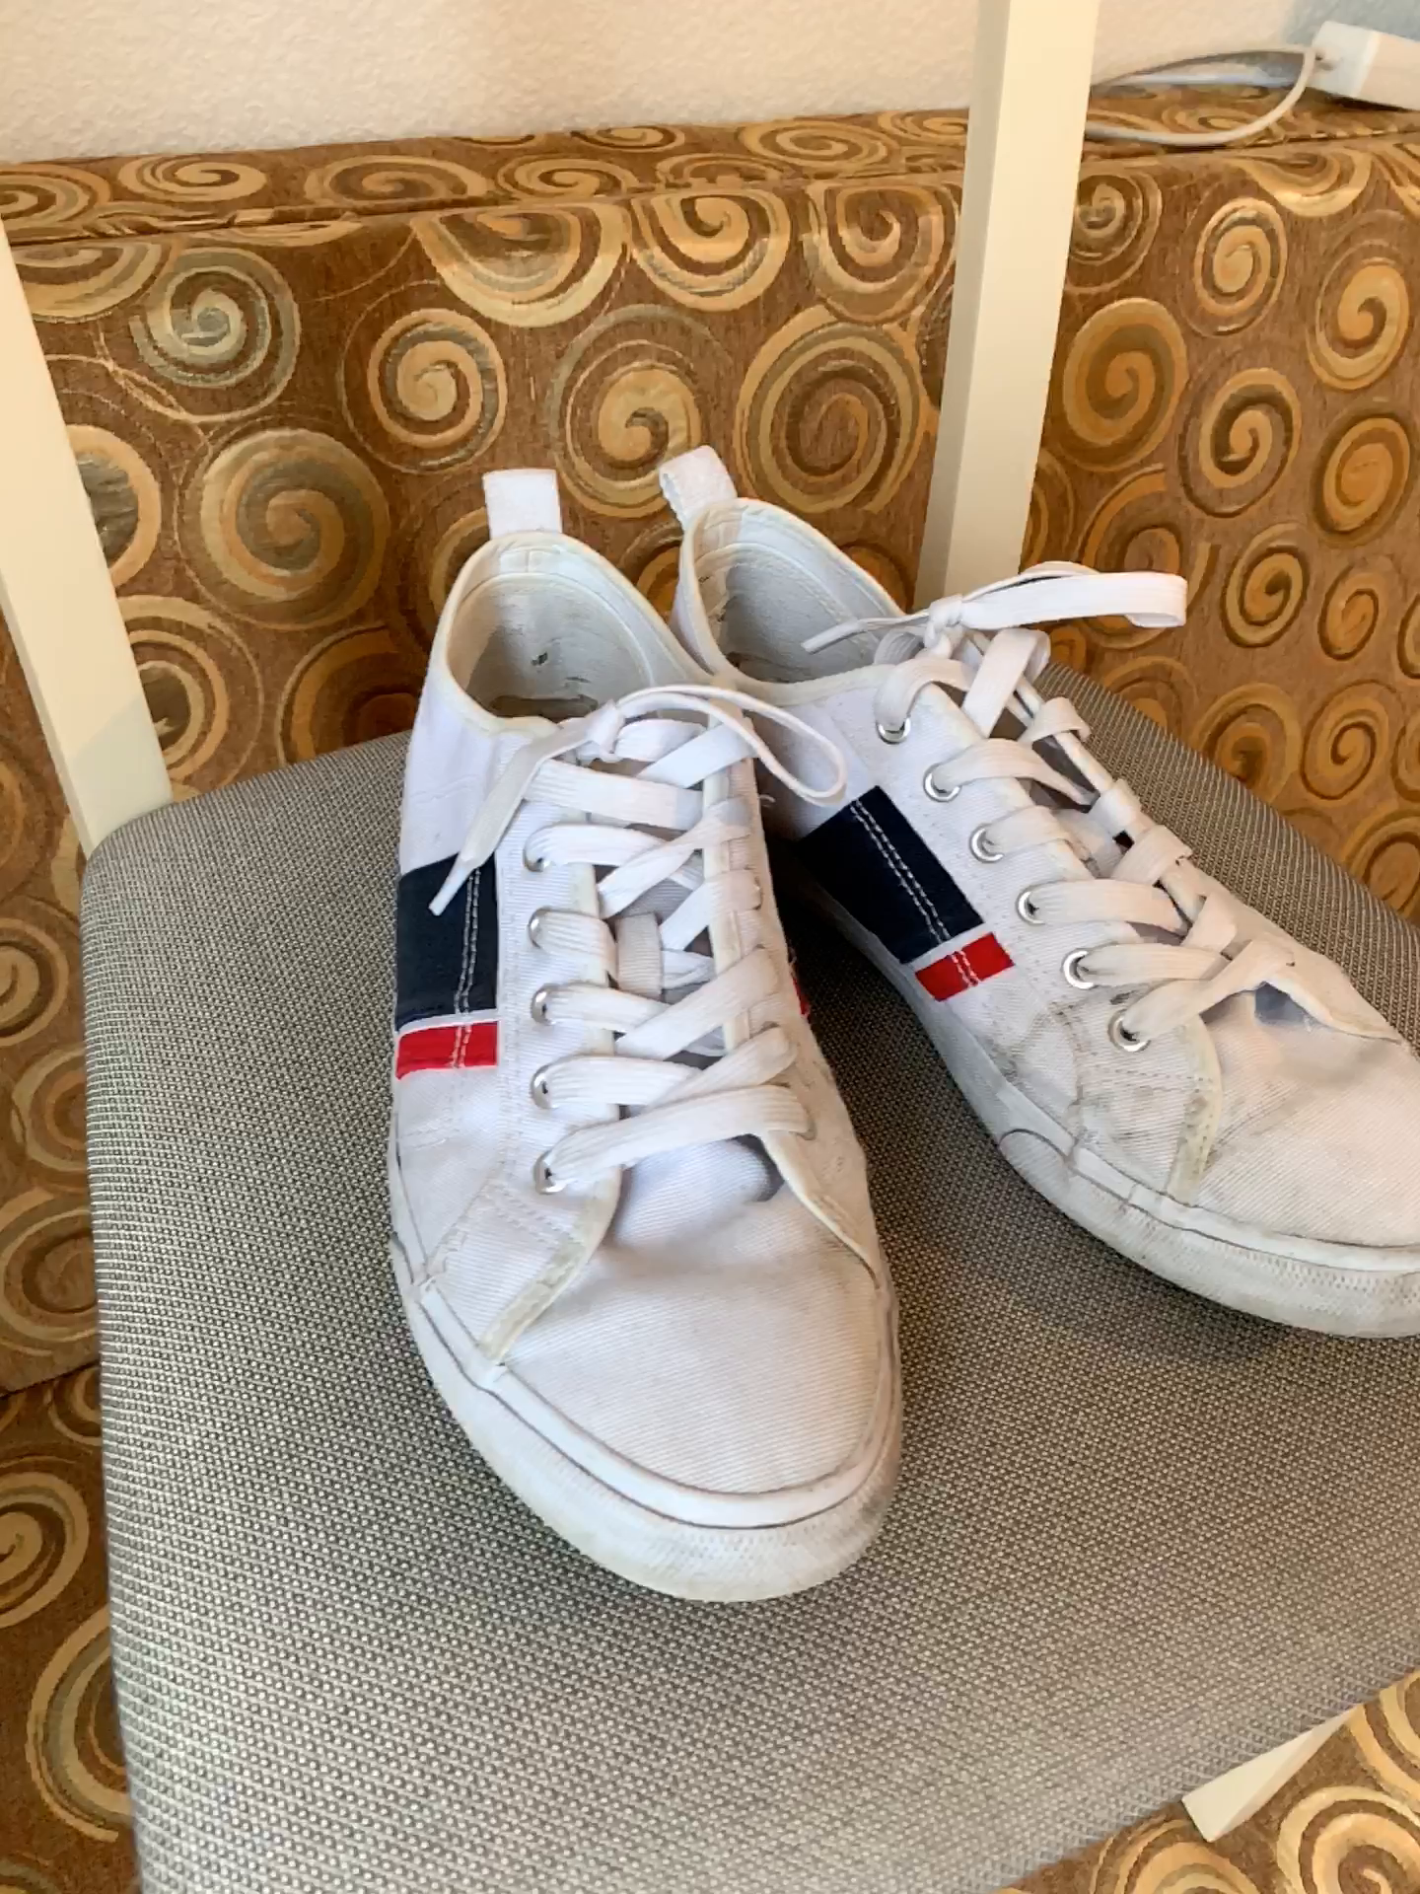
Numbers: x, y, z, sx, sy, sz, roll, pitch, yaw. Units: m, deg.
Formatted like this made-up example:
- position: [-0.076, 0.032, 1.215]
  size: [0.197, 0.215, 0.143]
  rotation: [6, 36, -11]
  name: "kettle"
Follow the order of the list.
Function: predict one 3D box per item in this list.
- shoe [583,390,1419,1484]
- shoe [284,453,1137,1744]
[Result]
- position: [0.092, -0.024, 0.365]
  size: [0.110, 0.090, 0.271]
  rotation: [-28, 57, -28]
  name: "shoe"
- position: [-0.027, 0.004, 0.333]
  size: [0.120, 0.090, 0.281]
  rotation: [-6, 49, -12]
  name: "shoe"
